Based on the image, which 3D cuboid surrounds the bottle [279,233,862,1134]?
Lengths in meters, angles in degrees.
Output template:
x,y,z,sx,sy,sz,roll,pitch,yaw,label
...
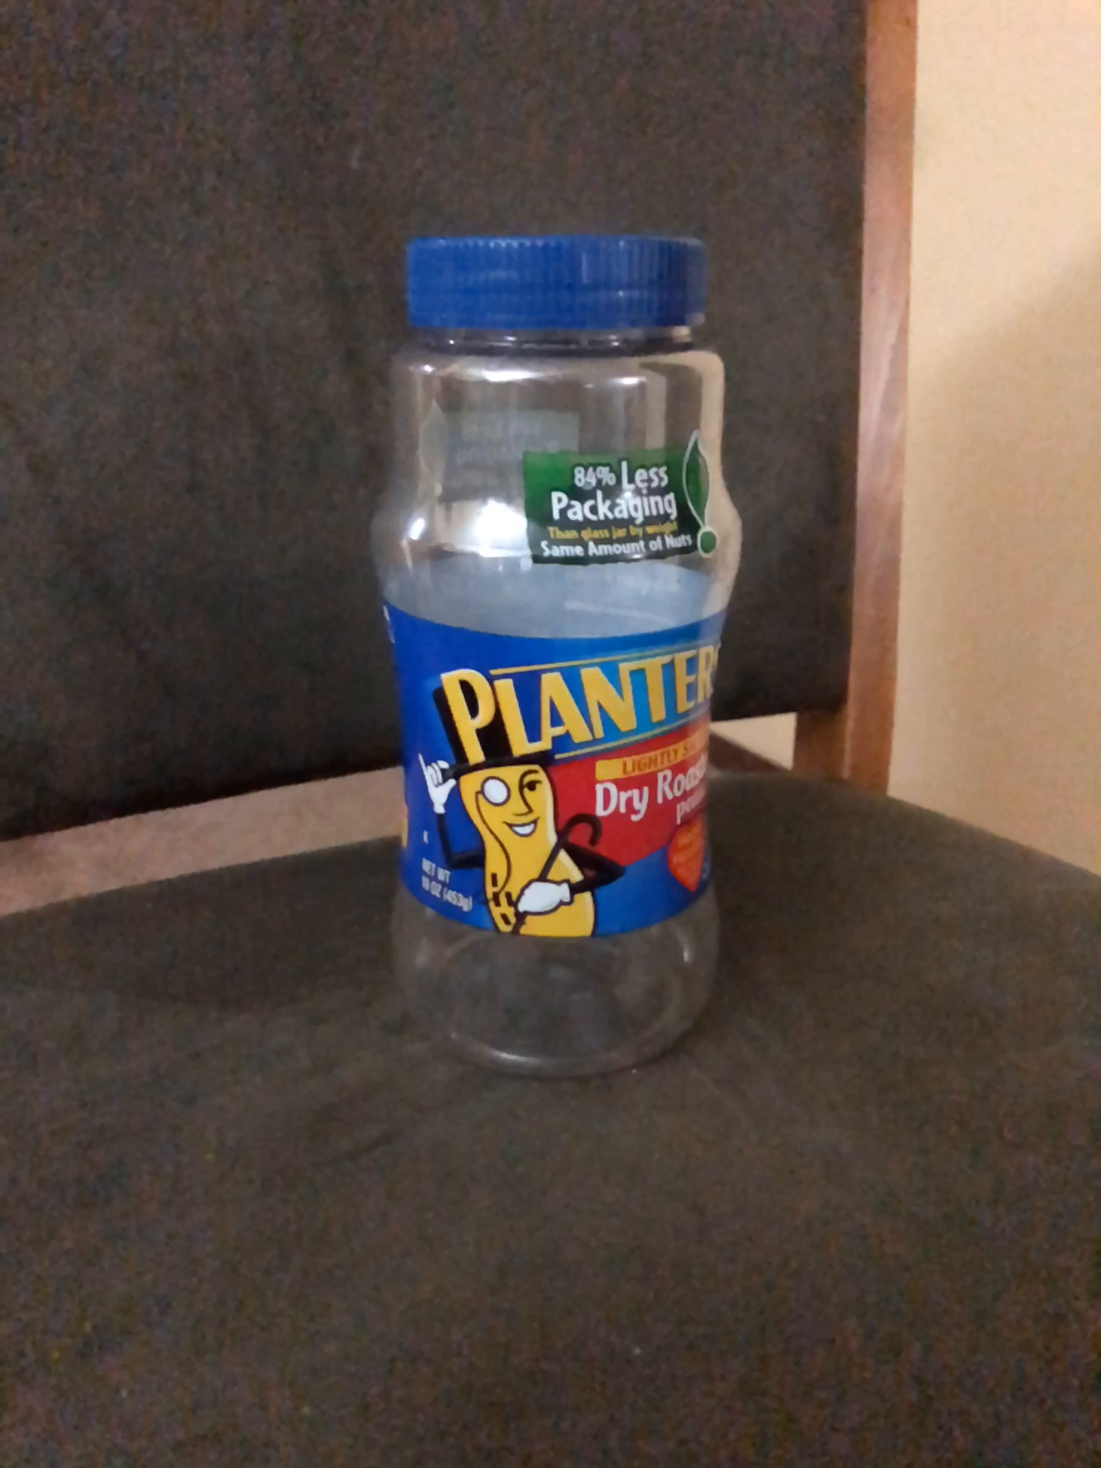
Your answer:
x,y,z,sx,sy,sz,roll,pitch,yaw,label
-0.002,-0.017,0.269,0.090,0.170,0.080,-7,22,-20,bottle
